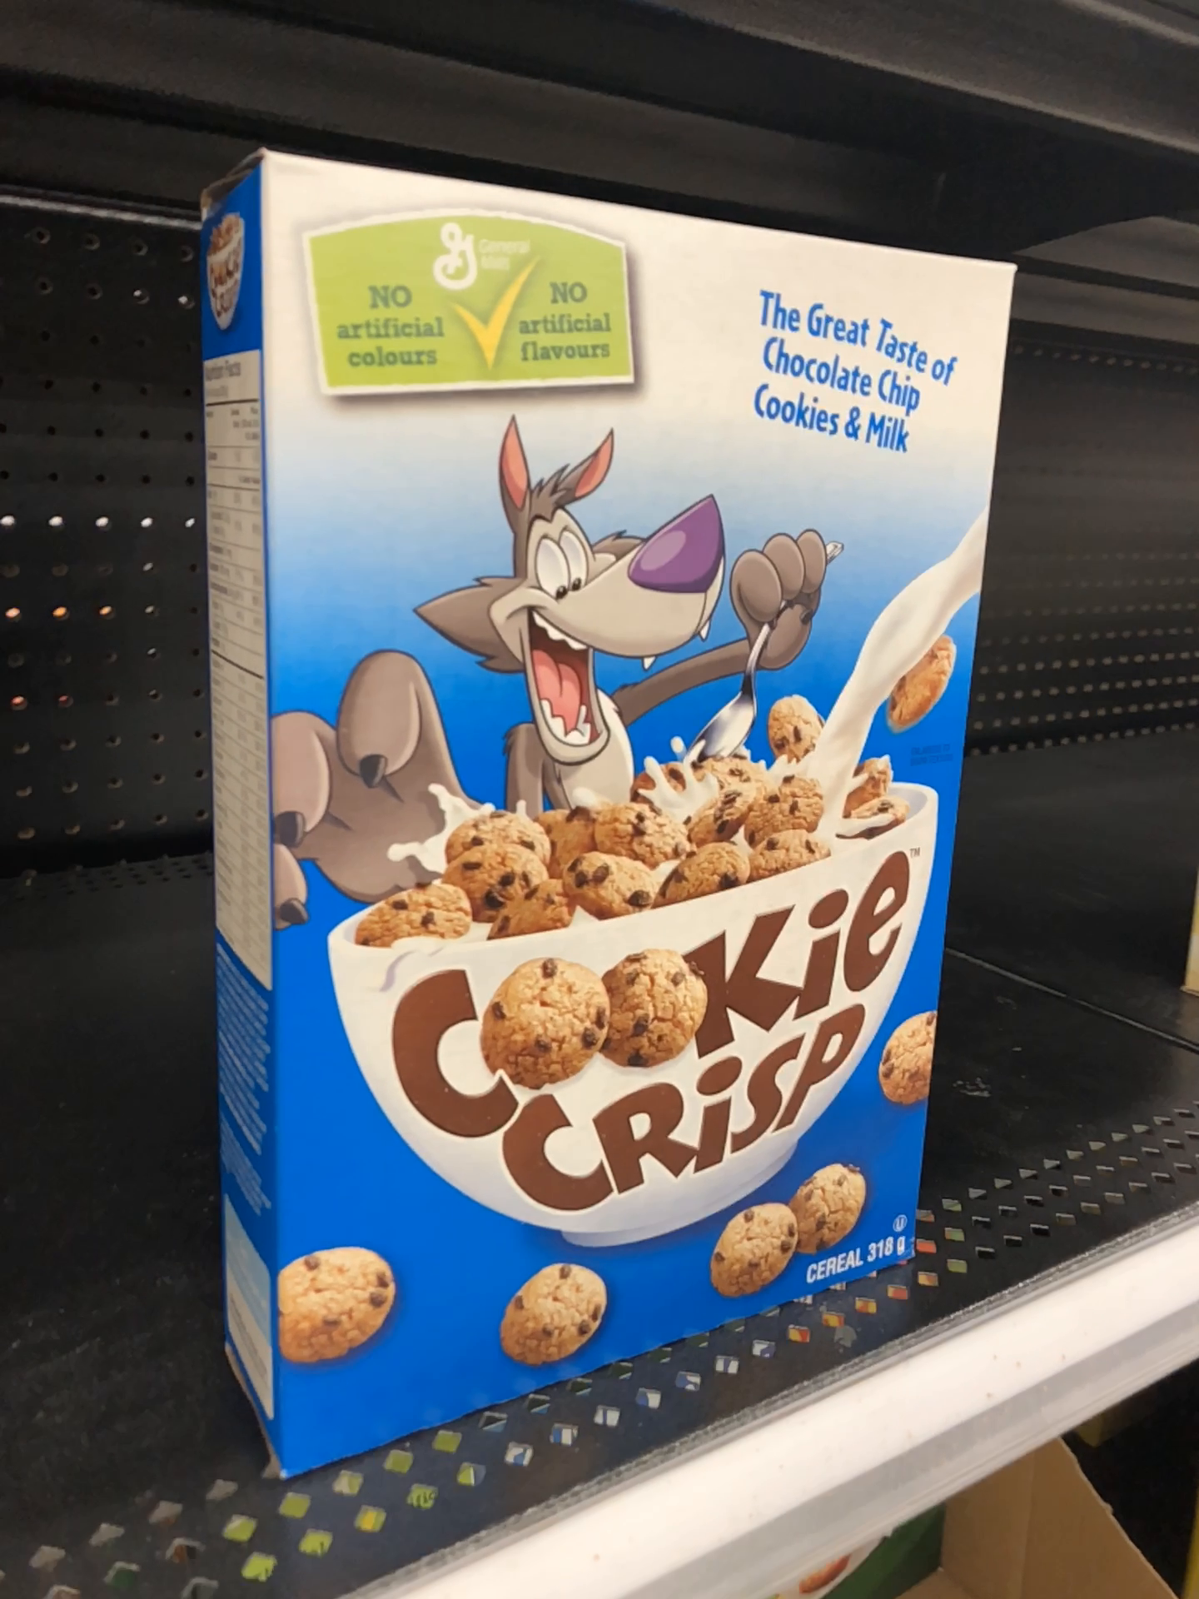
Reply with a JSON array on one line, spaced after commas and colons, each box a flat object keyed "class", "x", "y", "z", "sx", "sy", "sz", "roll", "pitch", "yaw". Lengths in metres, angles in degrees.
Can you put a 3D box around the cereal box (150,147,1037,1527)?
[{"class": "cereal box", "x": 0.003, "y": 0.007, "z": 0.334, "sx": 0.200, "sy": 0.279, "sz": 0.060, "roll": -6, "pitch": 15, "yaw": -30}]
